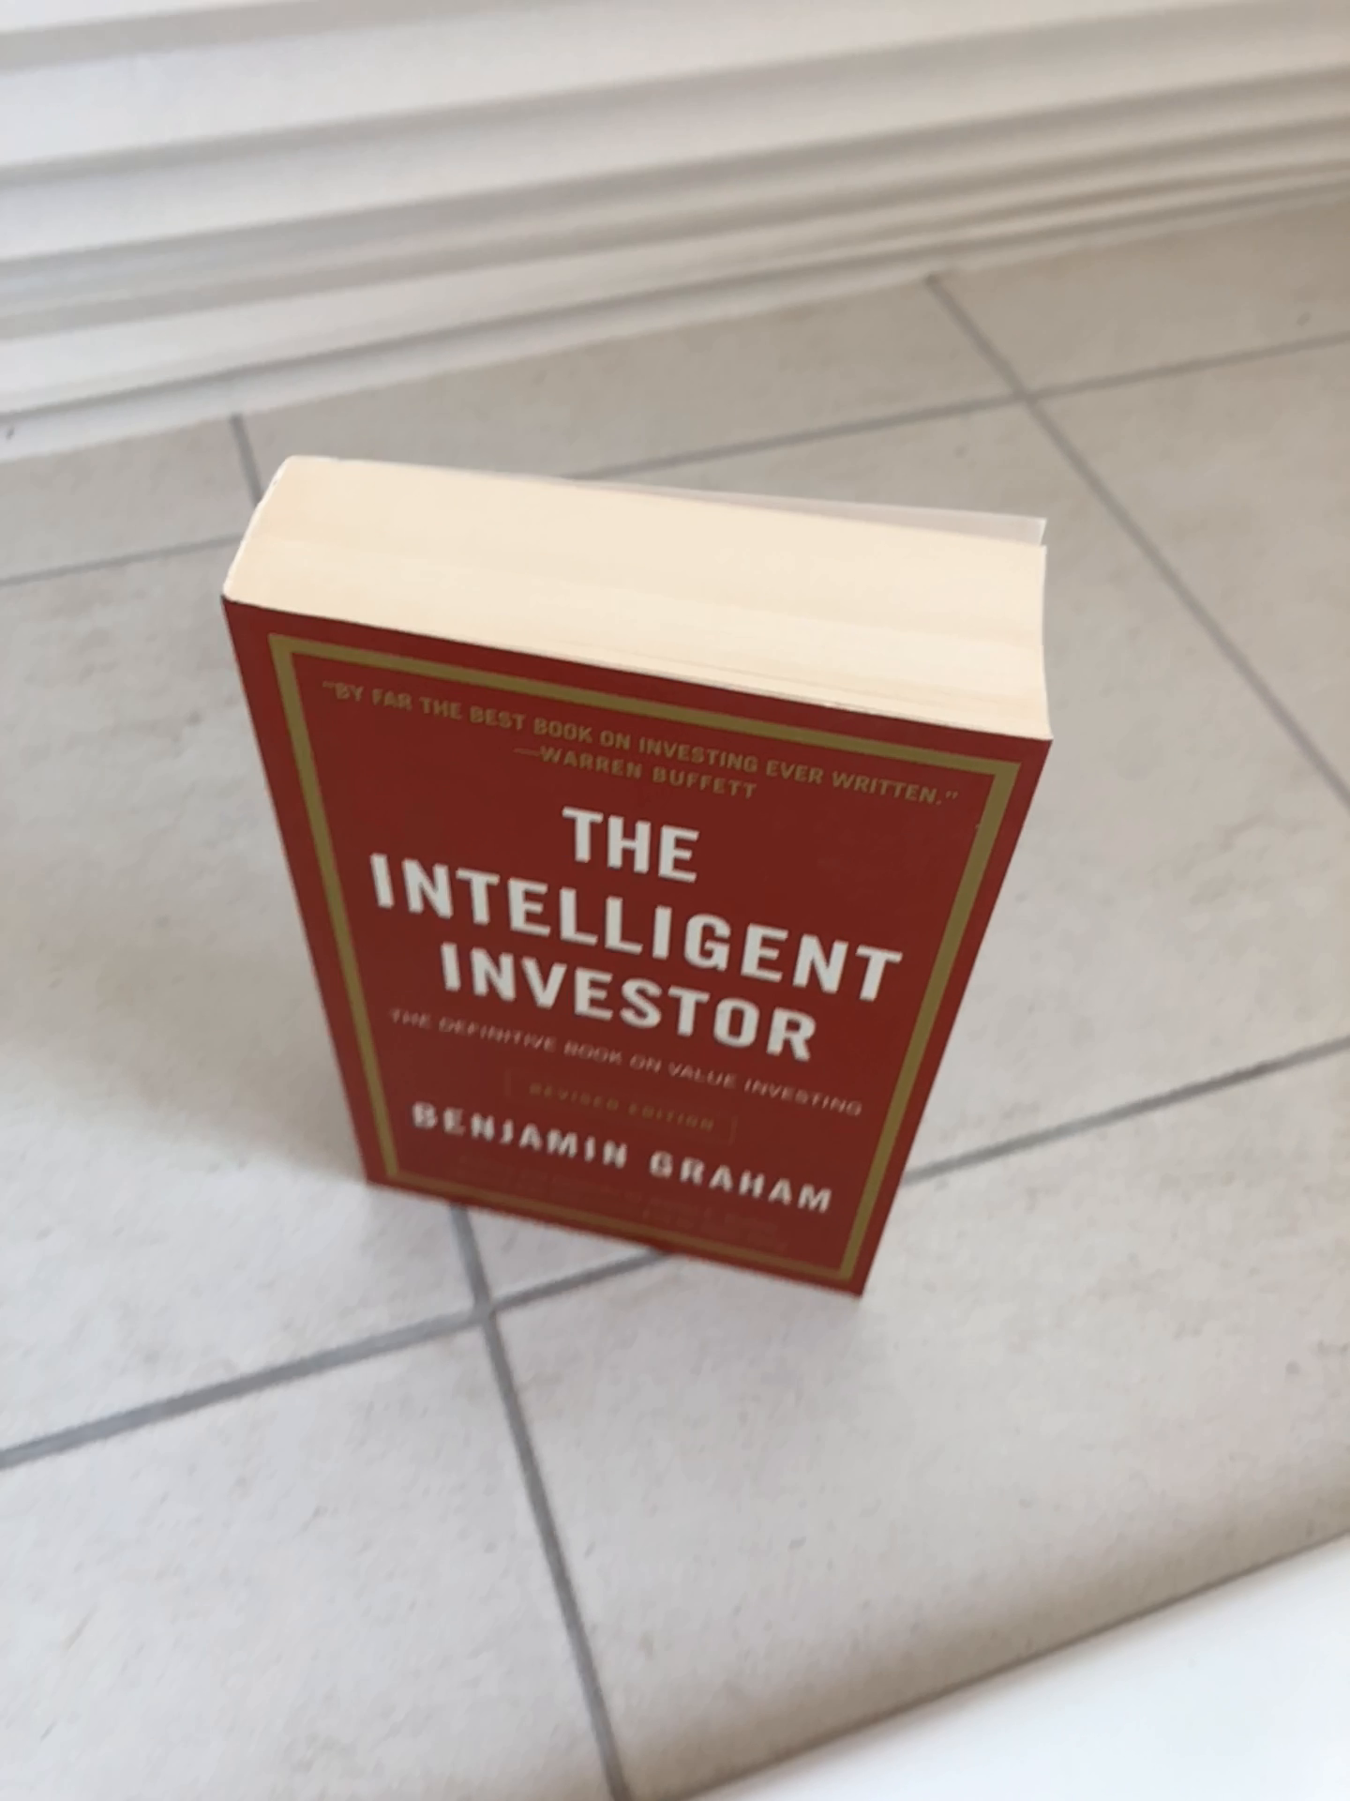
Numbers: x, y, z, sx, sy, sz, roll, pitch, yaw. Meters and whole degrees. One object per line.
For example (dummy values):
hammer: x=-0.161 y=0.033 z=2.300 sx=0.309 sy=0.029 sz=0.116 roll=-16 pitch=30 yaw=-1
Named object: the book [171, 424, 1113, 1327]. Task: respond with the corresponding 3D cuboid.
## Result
book: x=-0.006 y=0.011 z=0.334 sx=0.149 sy=0.206 sz=0.057 roll=11 pitch=52 yaw=6
